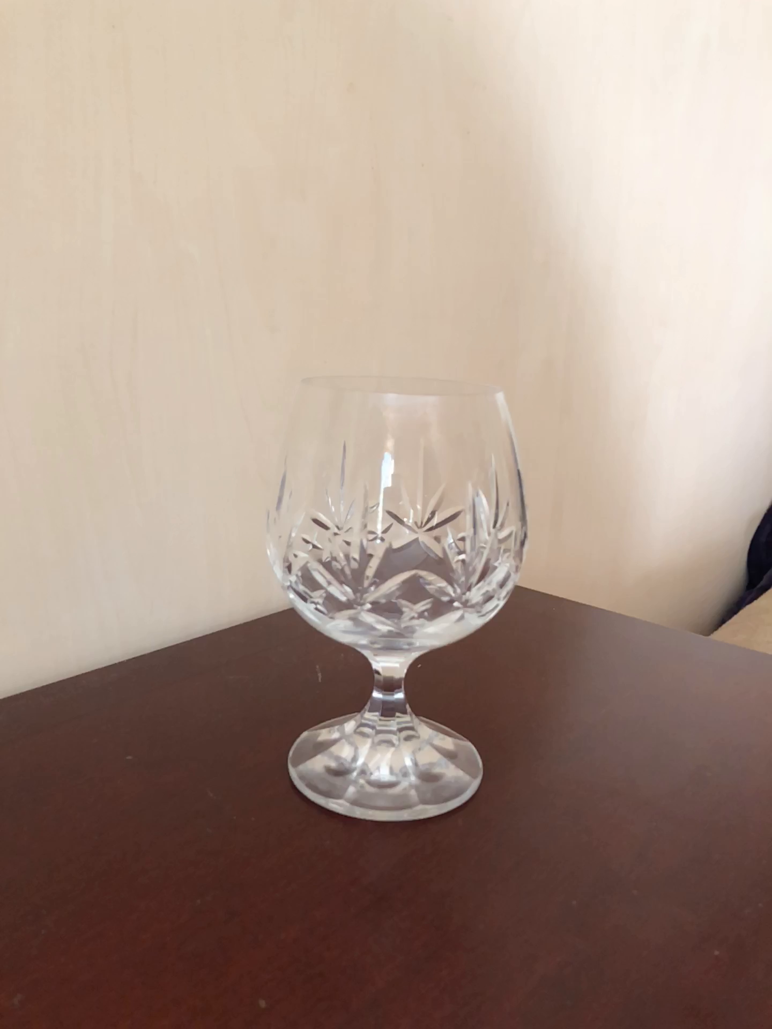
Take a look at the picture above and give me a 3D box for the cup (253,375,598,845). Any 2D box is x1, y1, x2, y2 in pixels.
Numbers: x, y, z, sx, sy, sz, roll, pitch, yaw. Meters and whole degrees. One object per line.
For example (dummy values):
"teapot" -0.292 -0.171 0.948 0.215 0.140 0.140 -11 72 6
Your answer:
"cup" 0.004 0.021 0.279 0.087 0.126 0.089 1 11 0
